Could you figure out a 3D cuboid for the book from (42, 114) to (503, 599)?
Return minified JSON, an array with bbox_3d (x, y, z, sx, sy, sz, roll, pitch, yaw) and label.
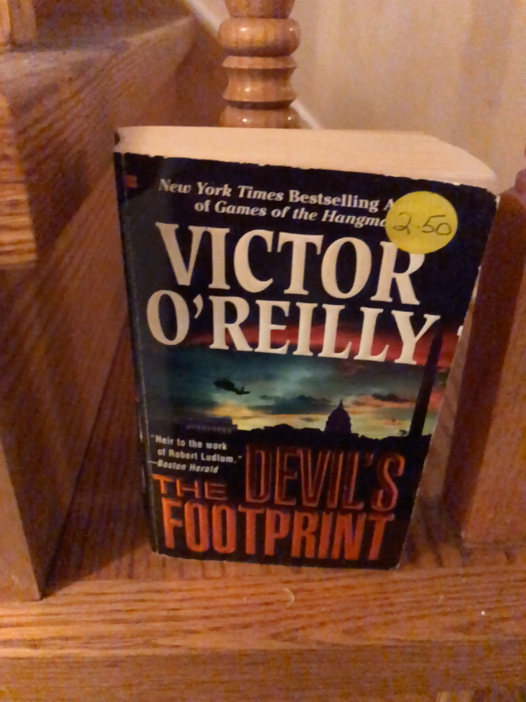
[{"bbox_3d":[0.003,0.009,0.219,0.120,0.169,0.050,5,33,8],"label":"book"}]
